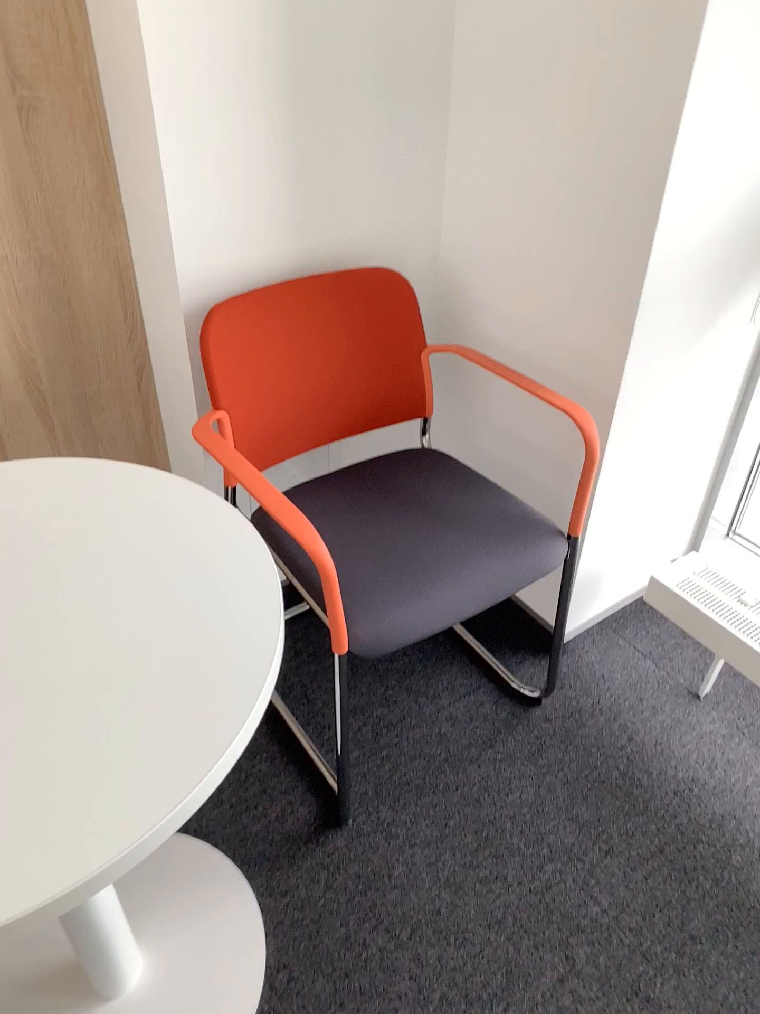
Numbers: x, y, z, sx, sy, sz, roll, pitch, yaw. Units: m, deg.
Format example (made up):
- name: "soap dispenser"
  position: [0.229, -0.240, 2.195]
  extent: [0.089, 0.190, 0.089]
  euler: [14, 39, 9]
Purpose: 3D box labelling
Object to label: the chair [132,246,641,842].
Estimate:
- name: "chair"
  position: [-0.014, 0.039, 1.430]
  extent: [0.571, 0.776, 0.561]
  euler: [-21, 43, -26]
